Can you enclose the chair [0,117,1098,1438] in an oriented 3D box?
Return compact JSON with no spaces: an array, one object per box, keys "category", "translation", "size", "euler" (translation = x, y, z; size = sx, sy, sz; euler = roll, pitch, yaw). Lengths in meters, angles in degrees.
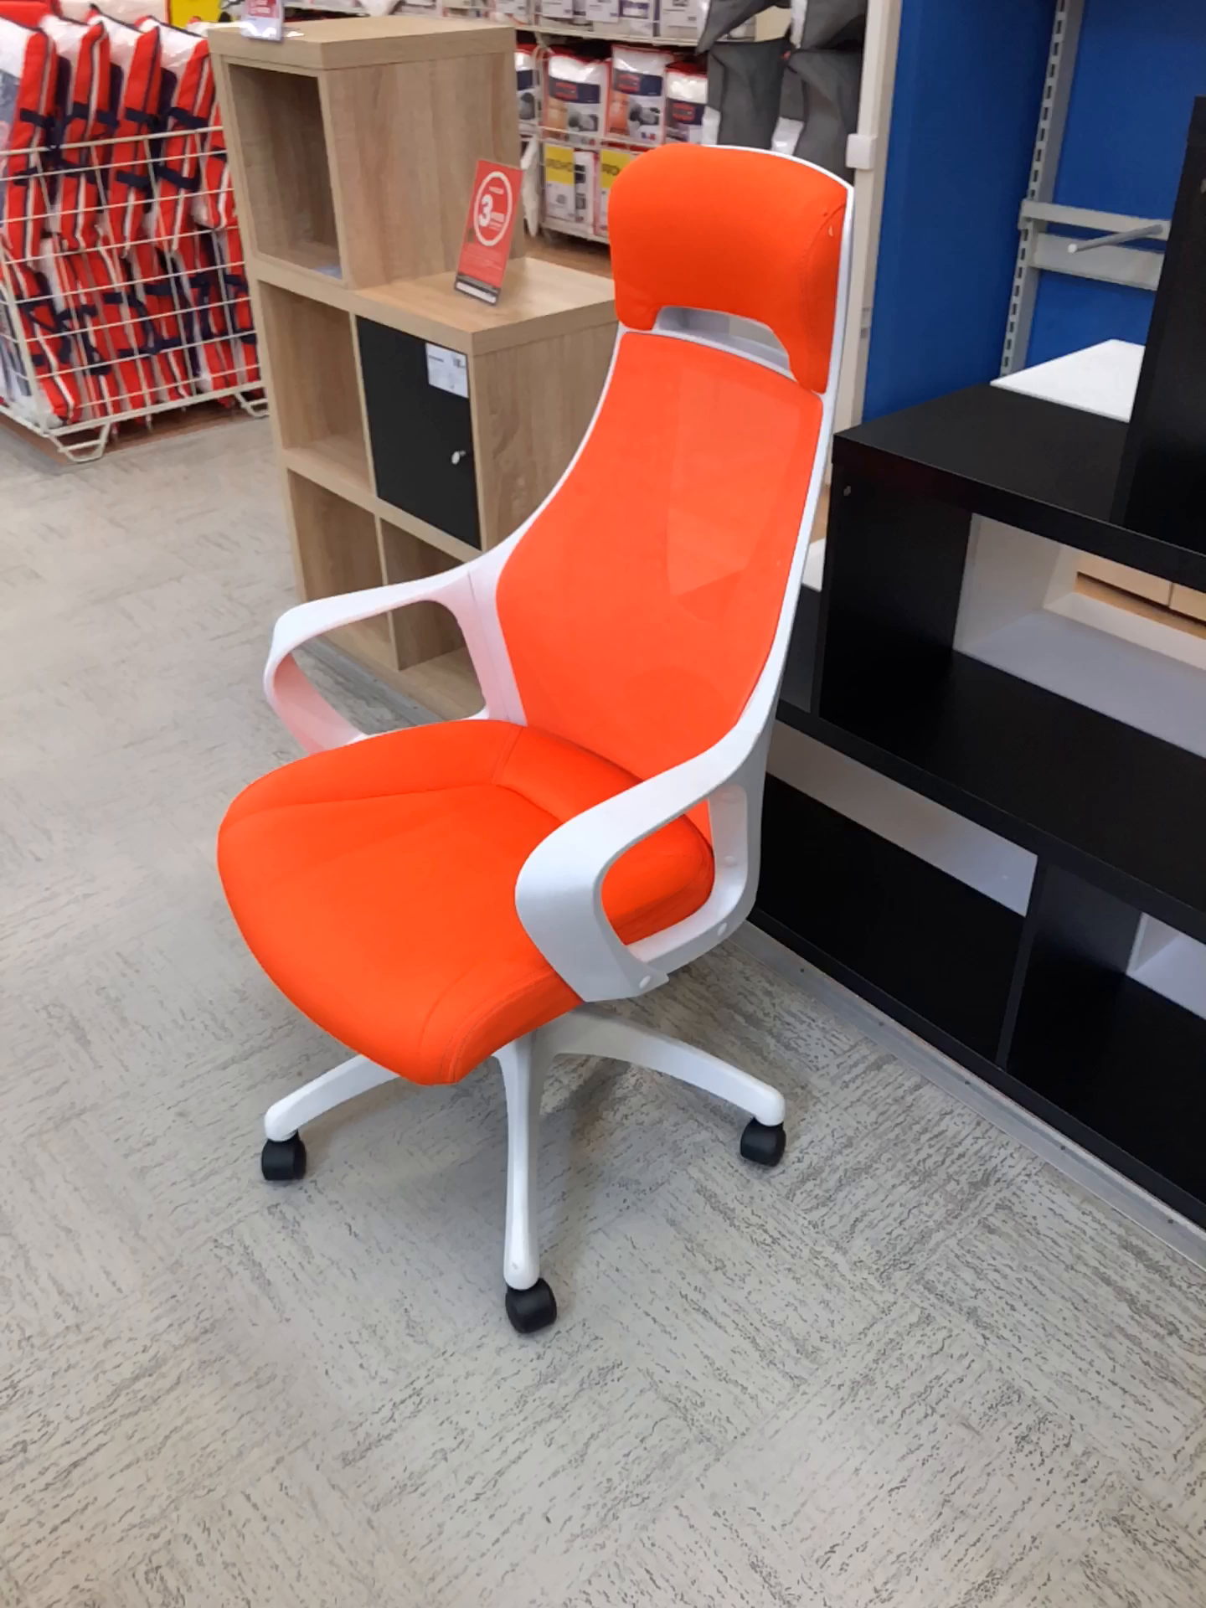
[{"category":"chair","translation":[-0.084,-0.092,1.428],"size":[0.753,1.054,0.681],"euler":[-23,39,-29]}]
